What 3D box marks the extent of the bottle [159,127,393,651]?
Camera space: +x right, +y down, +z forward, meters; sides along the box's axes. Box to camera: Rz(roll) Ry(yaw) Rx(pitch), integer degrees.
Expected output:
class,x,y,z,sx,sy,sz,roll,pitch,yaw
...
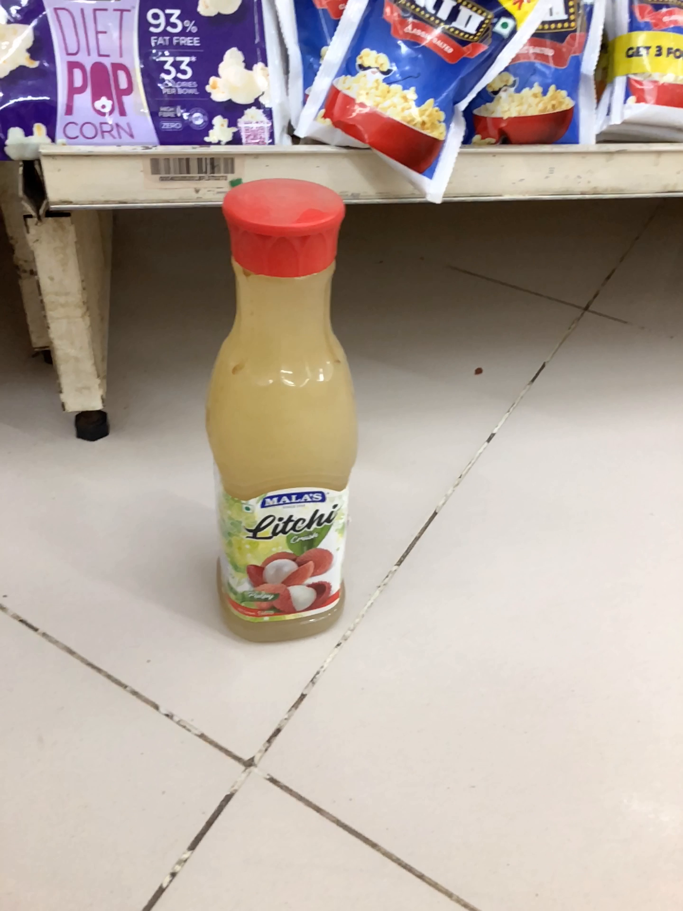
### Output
class,x,y,z,sx,sy,sz,roll,pitch,yaw
bottle,-0.041,-0.019,0.423,0.090,0.288,0.091,2,41,-2
